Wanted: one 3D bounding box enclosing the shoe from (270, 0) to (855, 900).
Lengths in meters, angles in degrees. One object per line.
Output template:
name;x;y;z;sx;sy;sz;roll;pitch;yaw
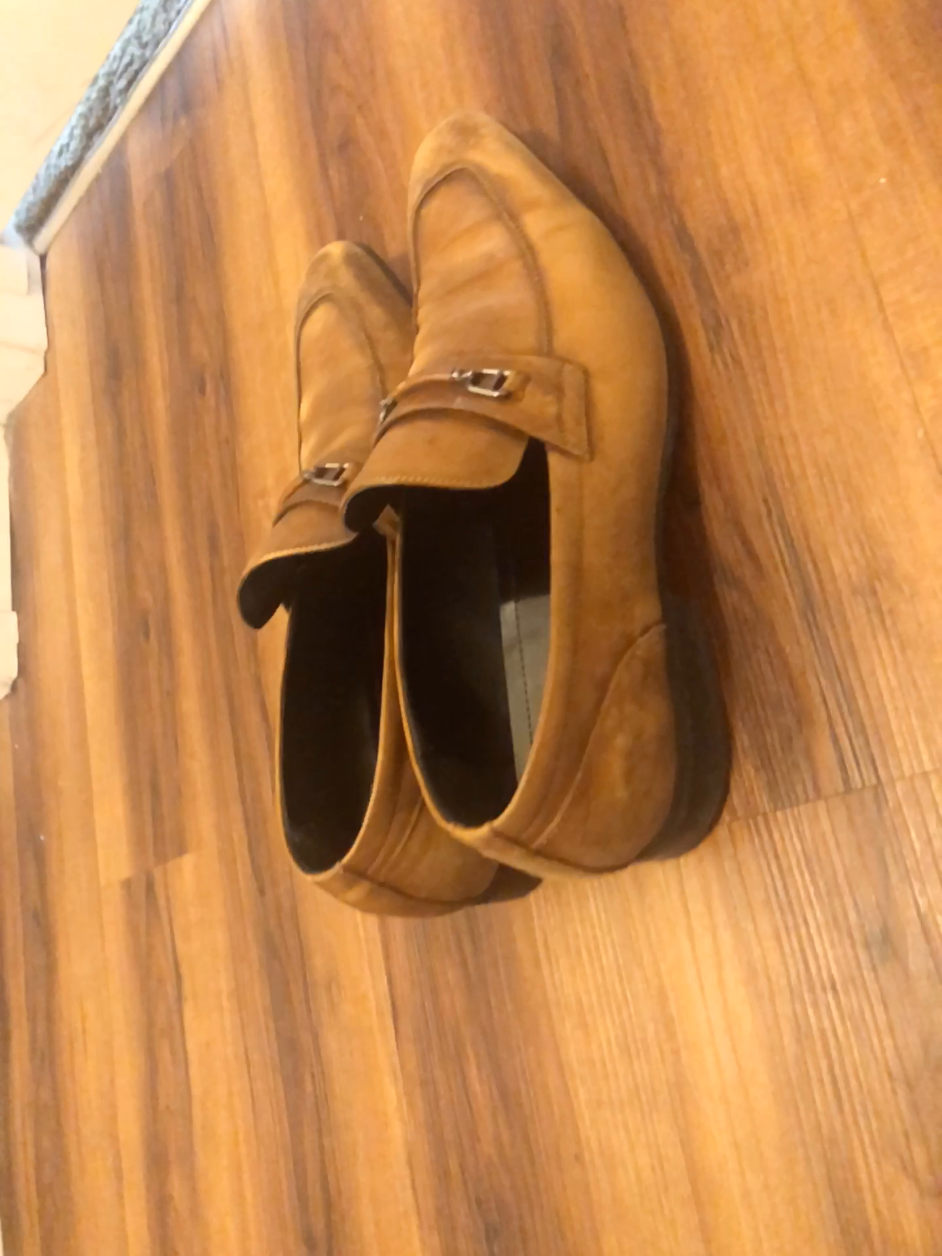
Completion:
shoe;0.021;-0.072;0.374;0.107;0.111;0.308;-26;68;44

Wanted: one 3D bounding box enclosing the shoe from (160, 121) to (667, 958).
shoe;-0.036;-0.036;0.436;0.107;0.111;0.308;-31;64;42
